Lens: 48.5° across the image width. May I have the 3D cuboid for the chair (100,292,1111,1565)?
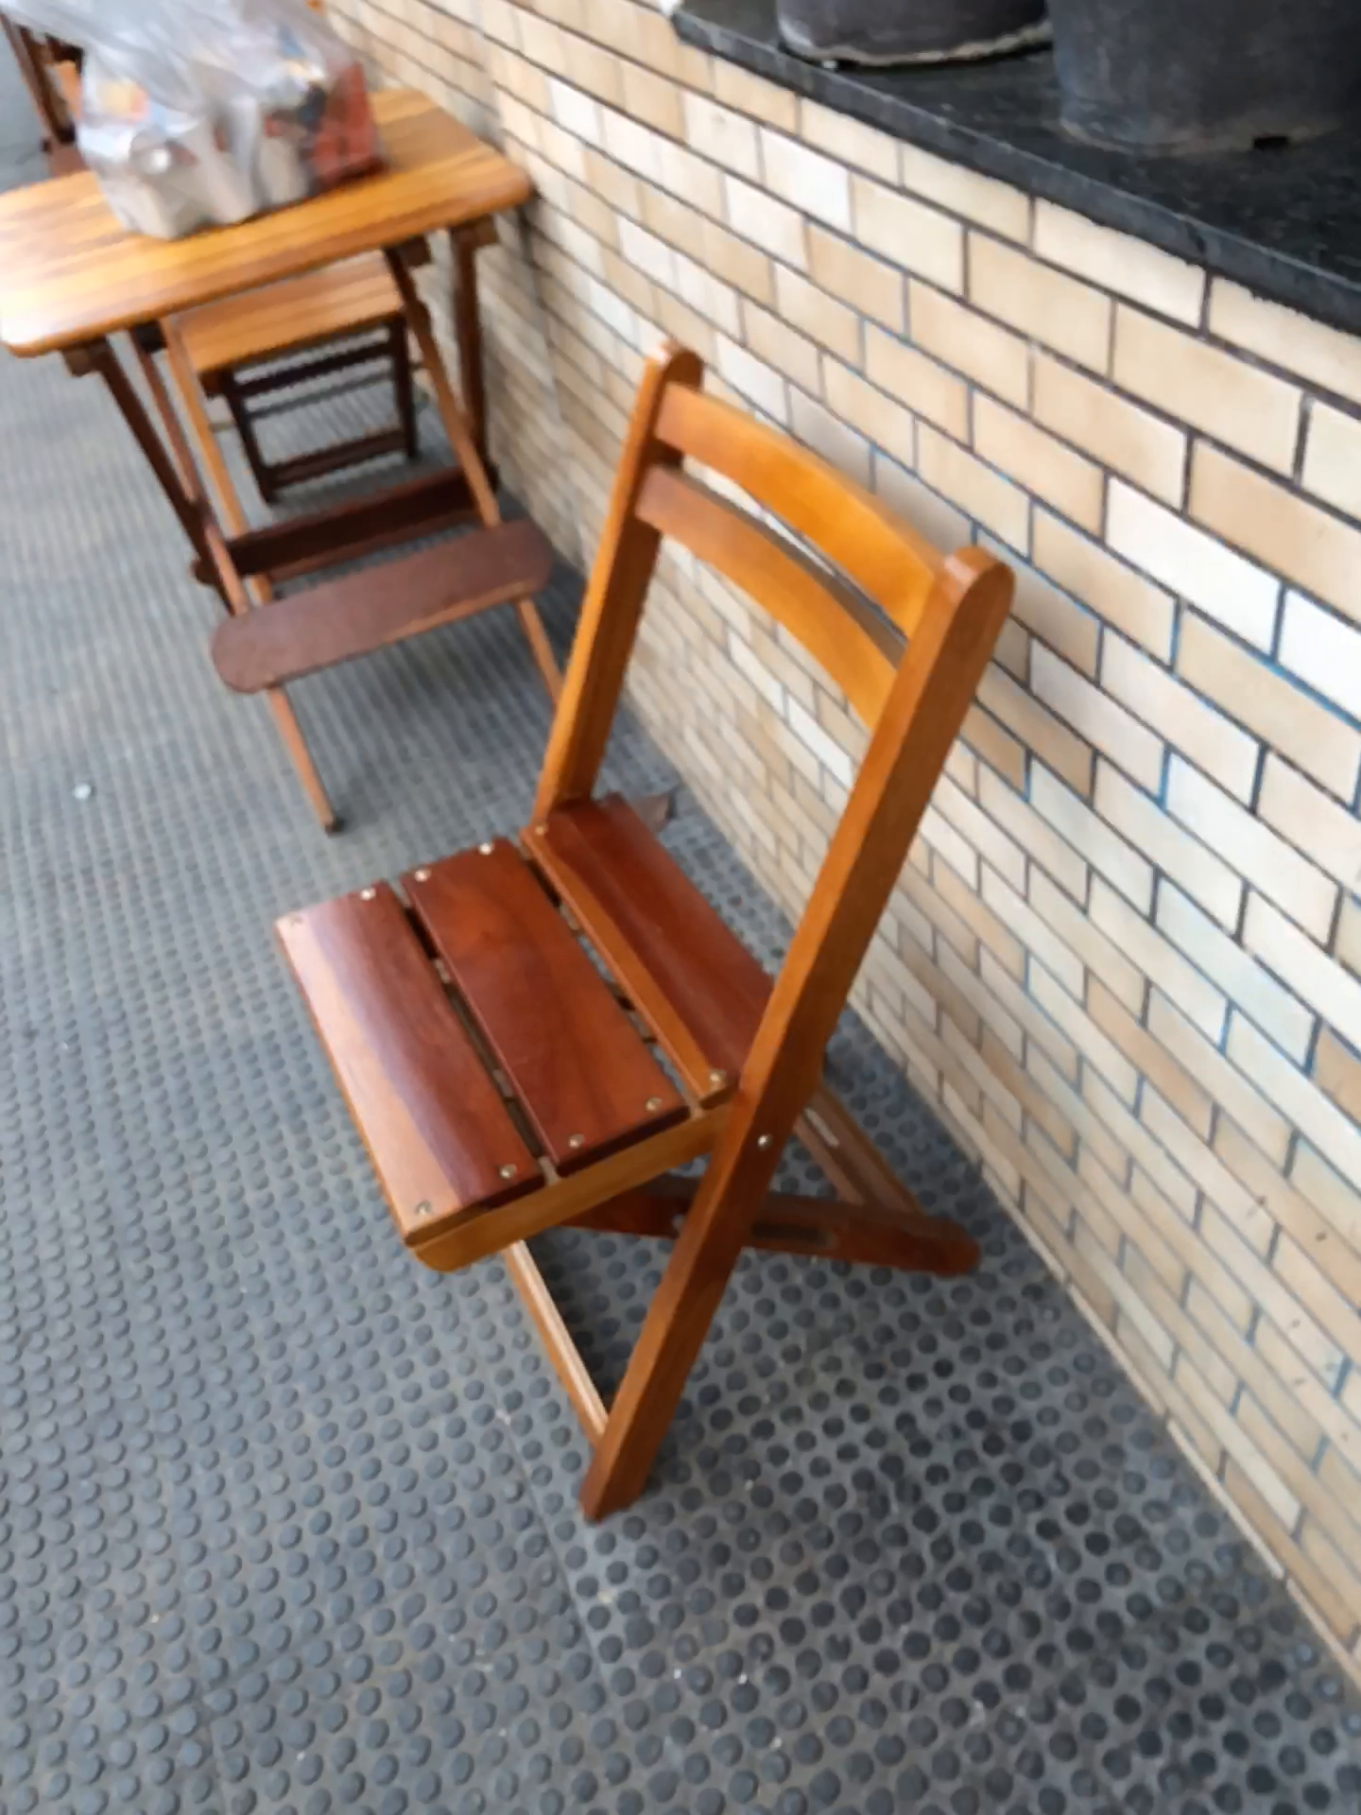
[{"bbox_3d":[-0.031,0.032,1.202,0.490,0.764,0.473,-24,44,-14],"label":"chair"}]
